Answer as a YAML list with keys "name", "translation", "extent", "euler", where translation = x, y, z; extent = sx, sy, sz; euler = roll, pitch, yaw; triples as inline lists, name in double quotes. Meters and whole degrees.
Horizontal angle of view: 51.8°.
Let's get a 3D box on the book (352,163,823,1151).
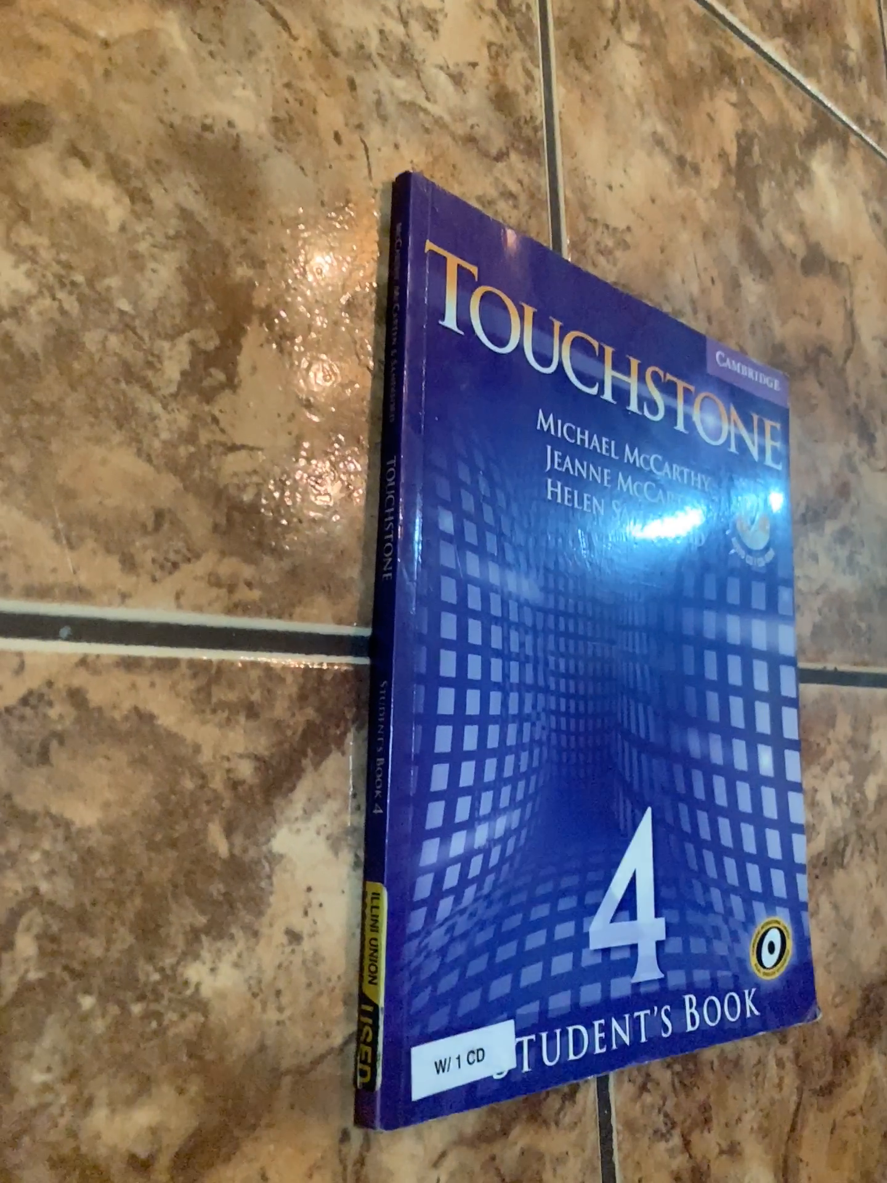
- name: "book"
  translation: [0.066, 0.020, 0.326]
  extent: [0.220, 0.010, 0.275]
  euler: [11, 75, -39]
